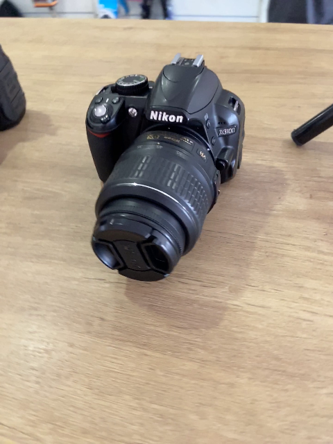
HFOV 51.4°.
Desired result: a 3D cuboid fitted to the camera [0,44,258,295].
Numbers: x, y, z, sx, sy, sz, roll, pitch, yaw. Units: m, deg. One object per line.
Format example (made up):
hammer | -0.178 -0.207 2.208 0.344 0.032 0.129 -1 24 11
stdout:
camera | -0.010 -0.057 0.274 0.130 0.089 0.181 10 49 14
